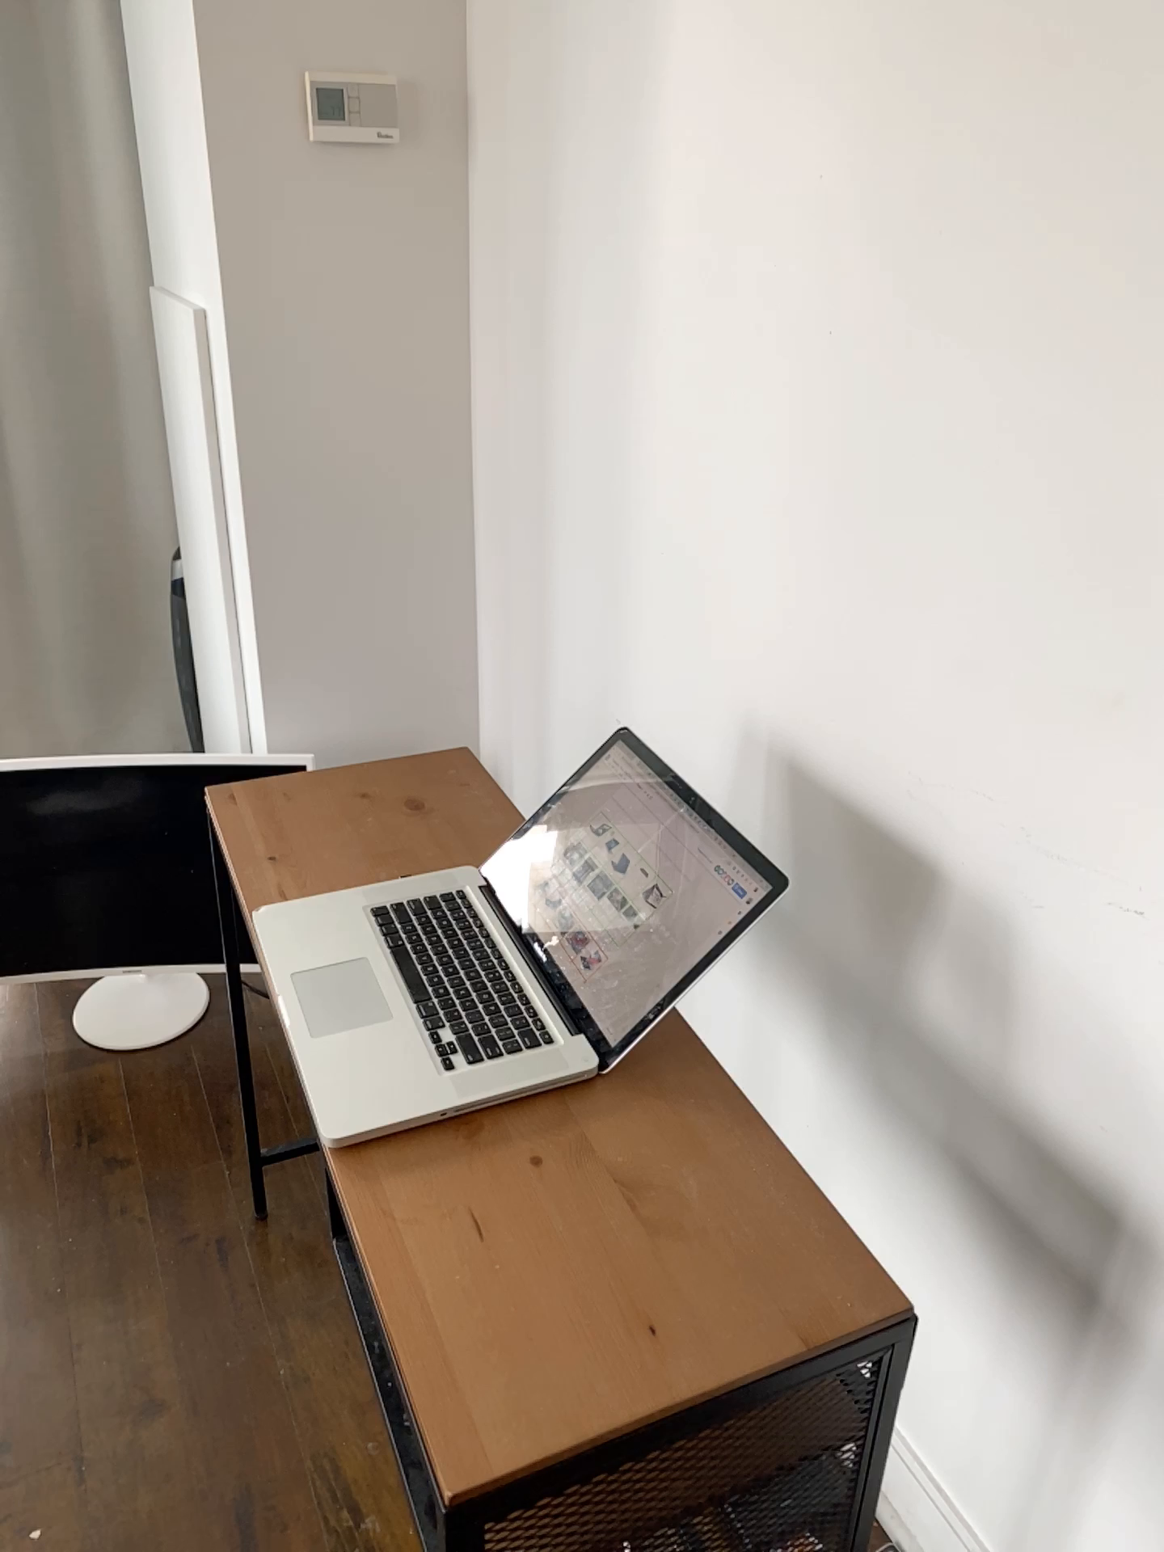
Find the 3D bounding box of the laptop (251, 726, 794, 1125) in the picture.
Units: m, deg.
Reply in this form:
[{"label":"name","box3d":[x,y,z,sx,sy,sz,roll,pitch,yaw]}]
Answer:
[{"label":"laptop","box3d":[-0.076,0.120,1.200,0.435,0.155,0.361,-9,29,-22]}]
